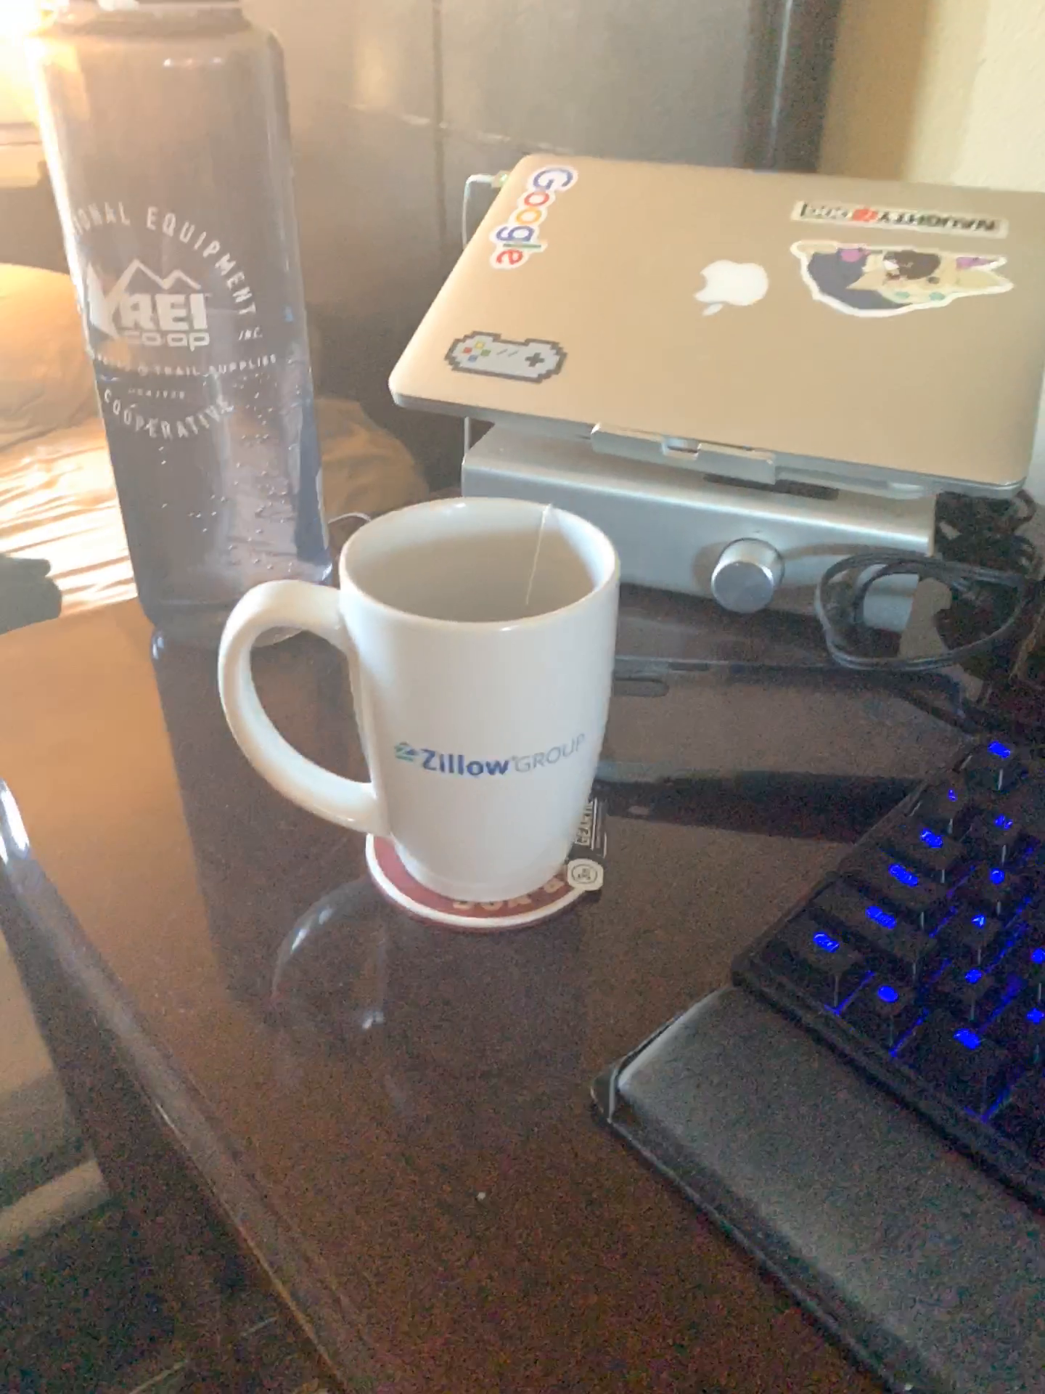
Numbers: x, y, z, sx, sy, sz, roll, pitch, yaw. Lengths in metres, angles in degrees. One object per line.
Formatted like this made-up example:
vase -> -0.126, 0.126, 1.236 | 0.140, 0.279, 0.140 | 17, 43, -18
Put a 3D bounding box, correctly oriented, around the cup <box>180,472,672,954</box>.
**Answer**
cup -> -0.035, -0.001, 0.354 | 0.130, 0.099, 0.101 | -9, 37, -14
